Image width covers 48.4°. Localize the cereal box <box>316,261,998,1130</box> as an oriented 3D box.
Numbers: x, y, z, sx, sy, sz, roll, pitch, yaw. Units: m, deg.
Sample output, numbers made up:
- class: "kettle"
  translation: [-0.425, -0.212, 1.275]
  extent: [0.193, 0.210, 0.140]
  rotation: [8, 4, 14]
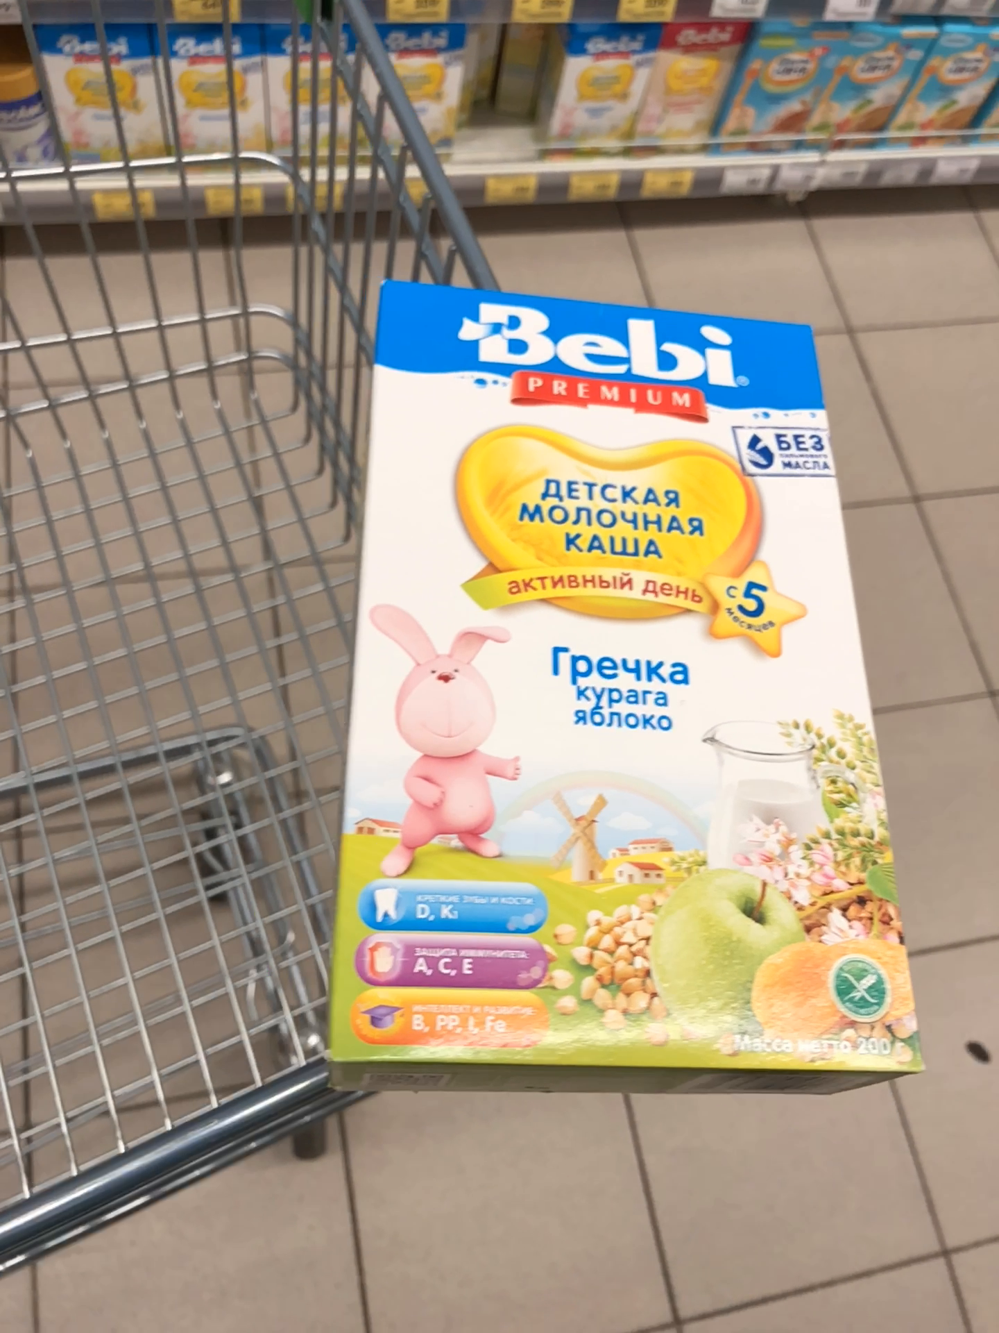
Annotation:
- class: "cereal box"
  translation: [0.033, 0.001, 0.282]
  extent: [0.140, 0.050, 0.211]
  rotation: [4, 63, -7]
